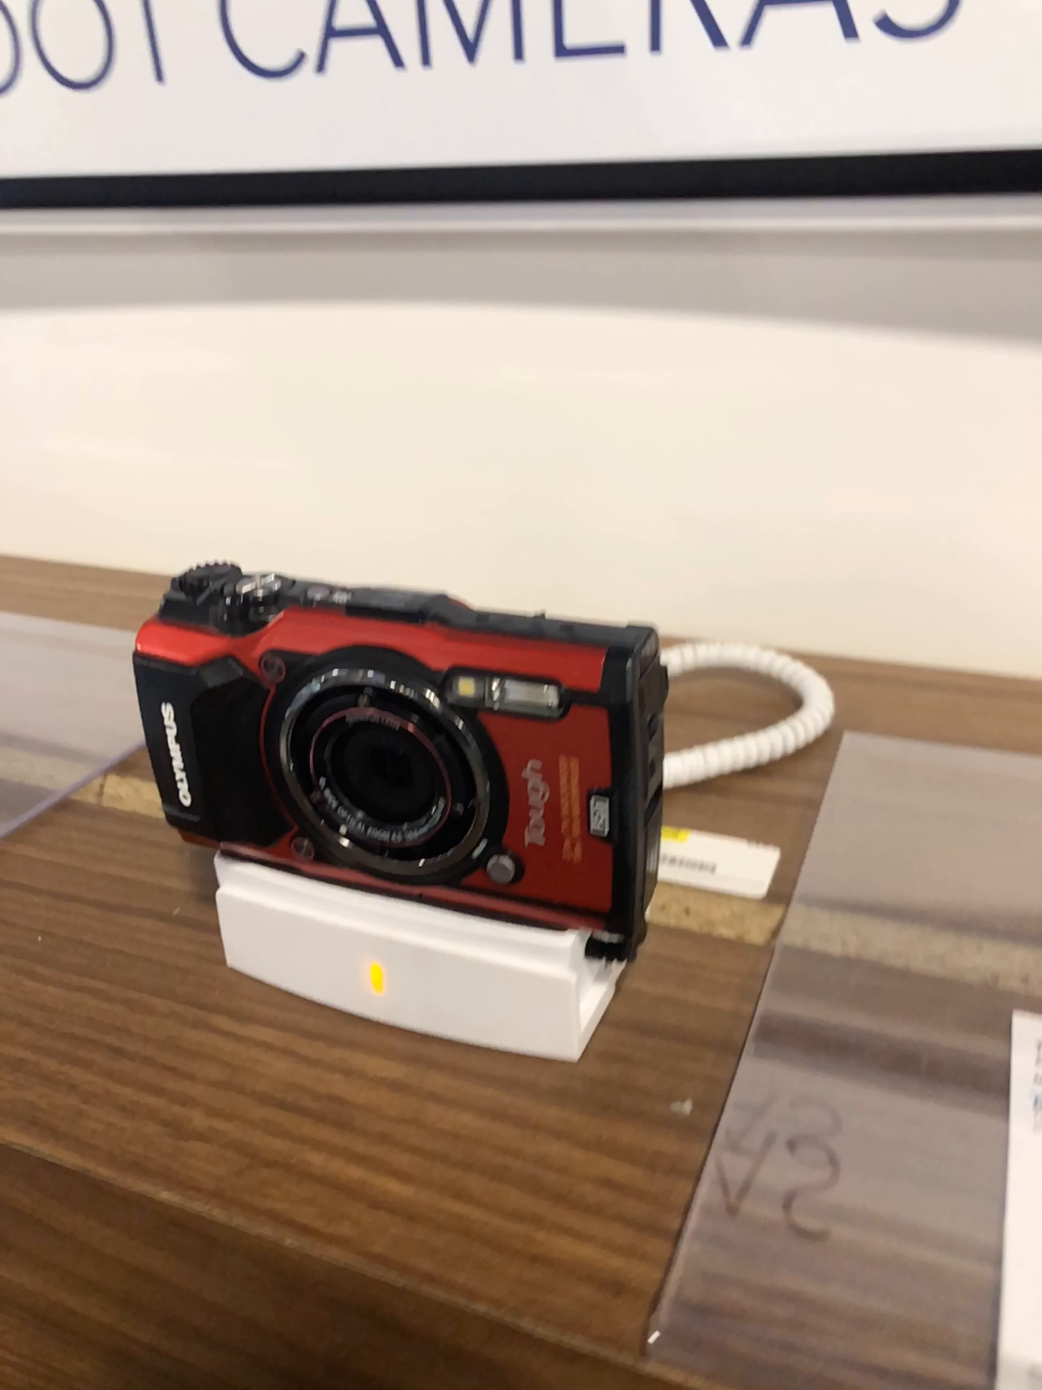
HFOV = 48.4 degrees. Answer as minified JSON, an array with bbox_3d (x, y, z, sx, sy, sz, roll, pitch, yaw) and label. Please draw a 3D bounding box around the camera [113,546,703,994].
[{"bbox_3d":[-0.025,0.012,0.249,0.120,0.070,0.030,9,26,23],"label":"camera"}]
